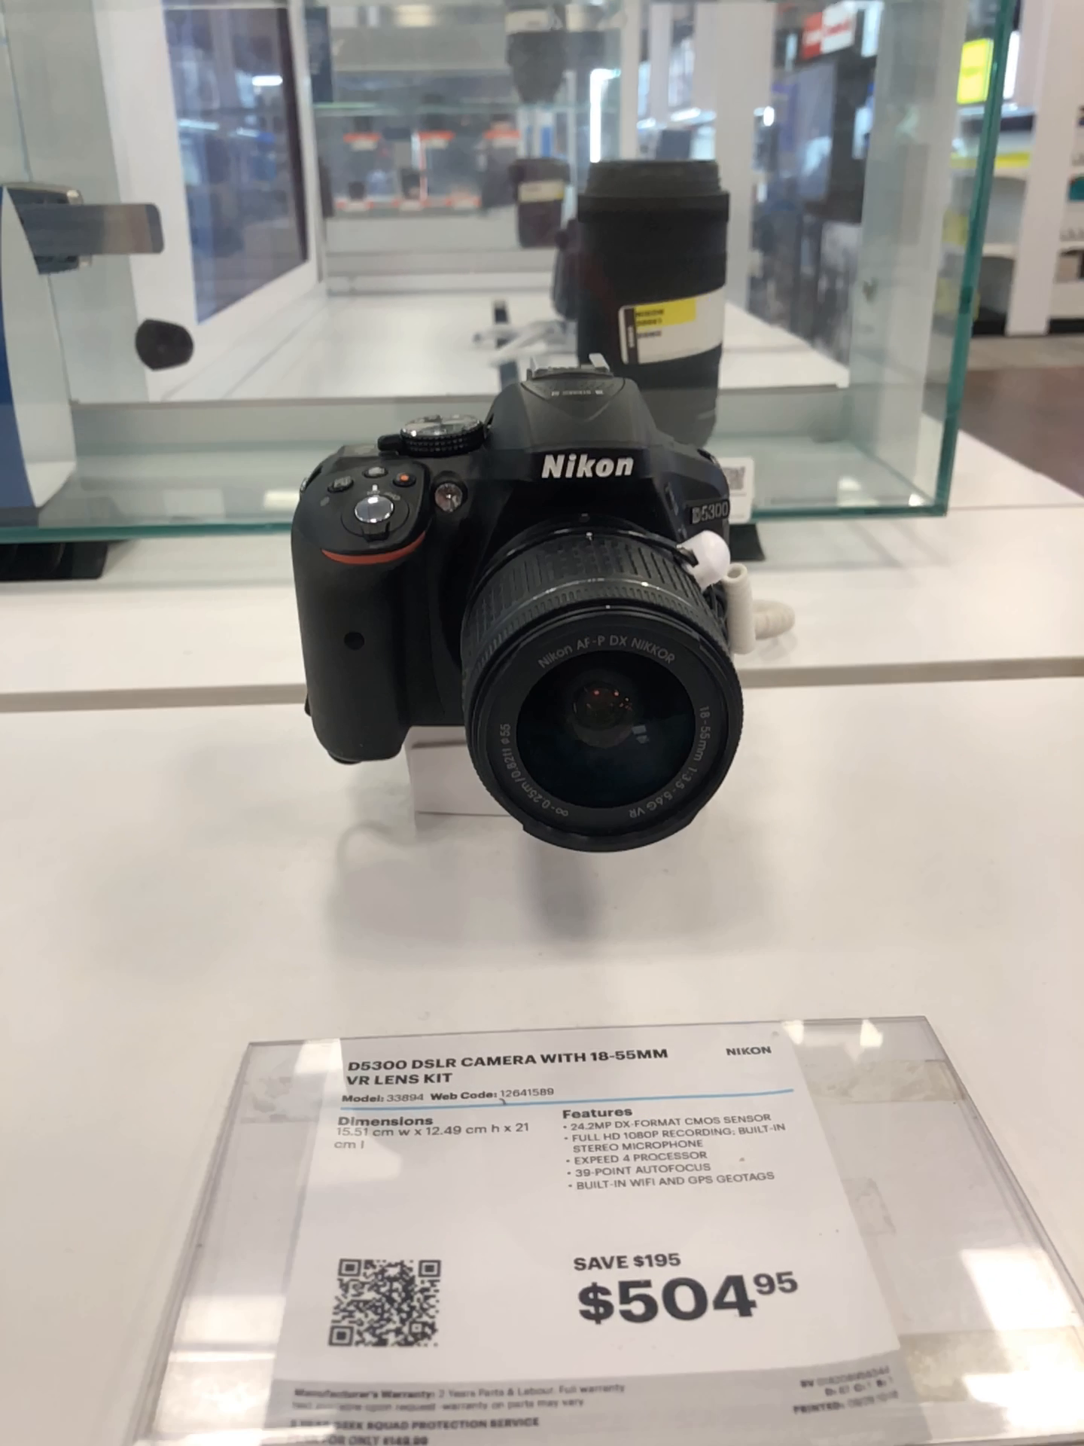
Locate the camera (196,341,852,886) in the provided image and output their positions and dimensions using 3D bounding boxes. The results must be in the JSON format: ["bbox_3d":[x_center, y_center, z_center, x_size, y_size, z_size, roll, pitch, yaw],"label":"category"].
[{"bbox_3d":[-0.006,-0.040,0.324,0.130,0.100,0.141,-2,24,-3],"label":"camera"}]
